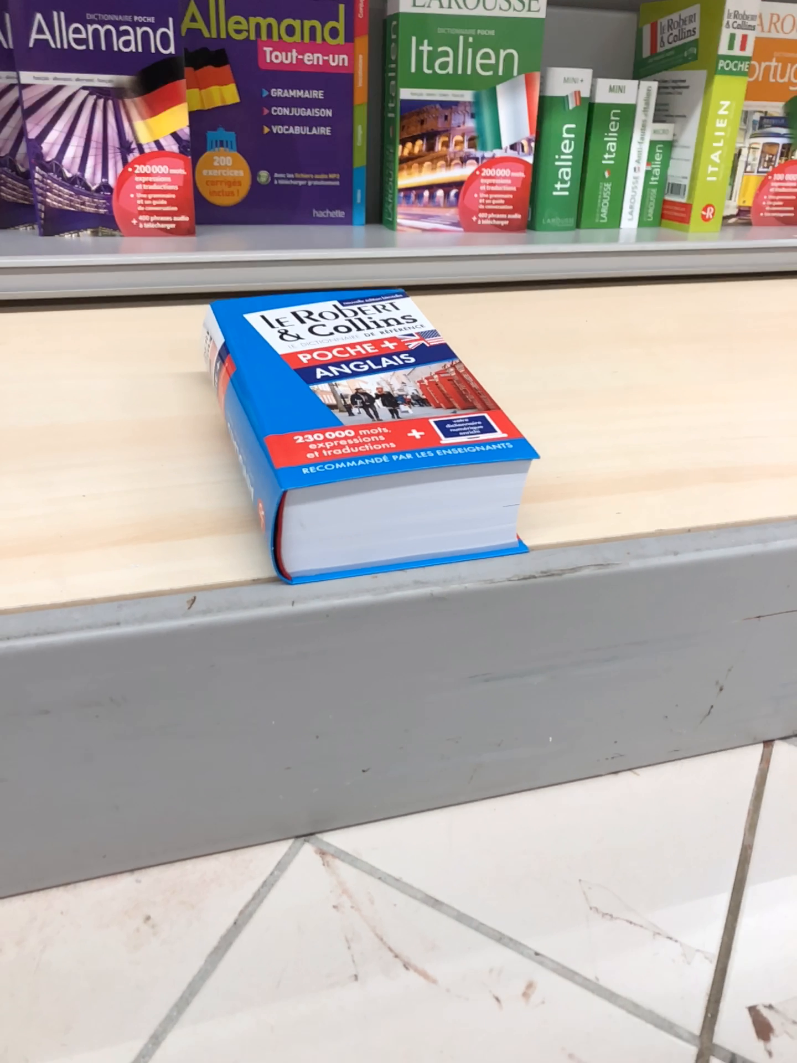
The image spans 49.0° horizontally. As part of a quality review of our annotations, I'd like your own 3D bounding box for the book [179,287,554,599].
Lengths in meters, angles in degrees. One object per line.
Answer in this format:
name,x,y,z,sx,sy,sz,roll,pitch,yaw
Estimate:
book,-0.027,-0.056,0.424,0.129,0.051,0.184,-8,39,-17
